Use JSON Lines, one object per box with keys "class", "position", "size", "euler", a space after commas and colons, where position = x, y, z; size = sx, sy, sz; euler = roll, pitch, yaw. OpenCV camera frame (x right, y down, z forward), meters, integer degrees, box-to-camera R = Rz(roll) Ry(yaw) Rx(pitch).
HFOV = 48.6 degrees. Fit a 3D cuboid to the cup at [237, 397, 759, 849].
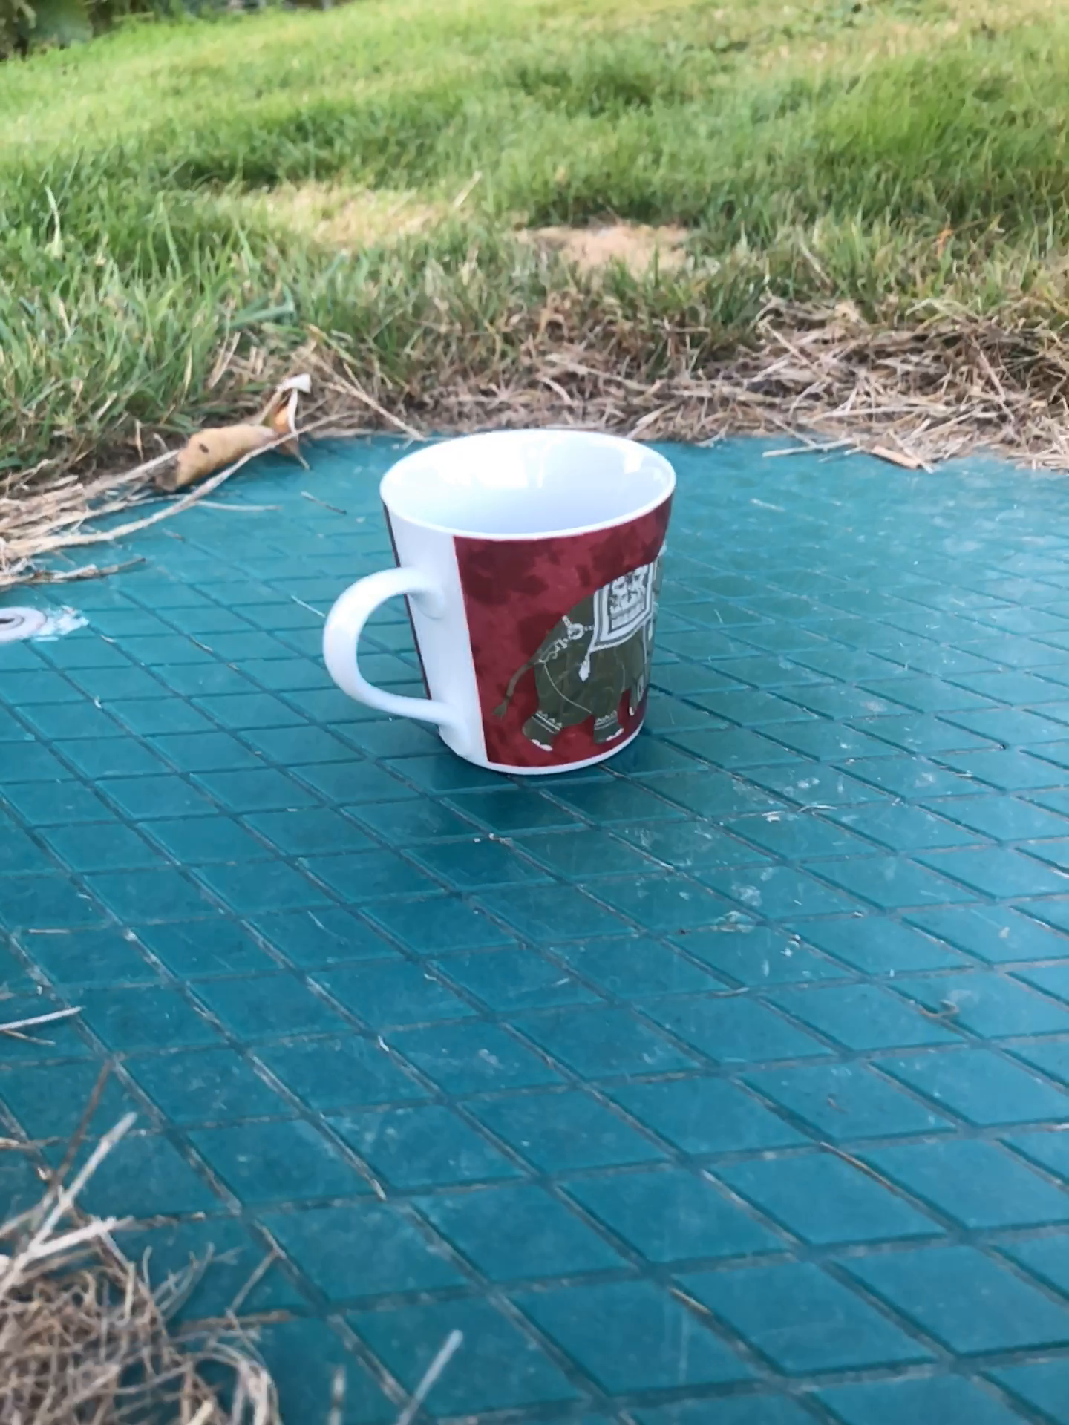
{"class": "cup", "position": [-0.006, -0.032, 0.325], "size": [0.110, 0.070, 0.082], "euler": [-28, 38, -36]}
